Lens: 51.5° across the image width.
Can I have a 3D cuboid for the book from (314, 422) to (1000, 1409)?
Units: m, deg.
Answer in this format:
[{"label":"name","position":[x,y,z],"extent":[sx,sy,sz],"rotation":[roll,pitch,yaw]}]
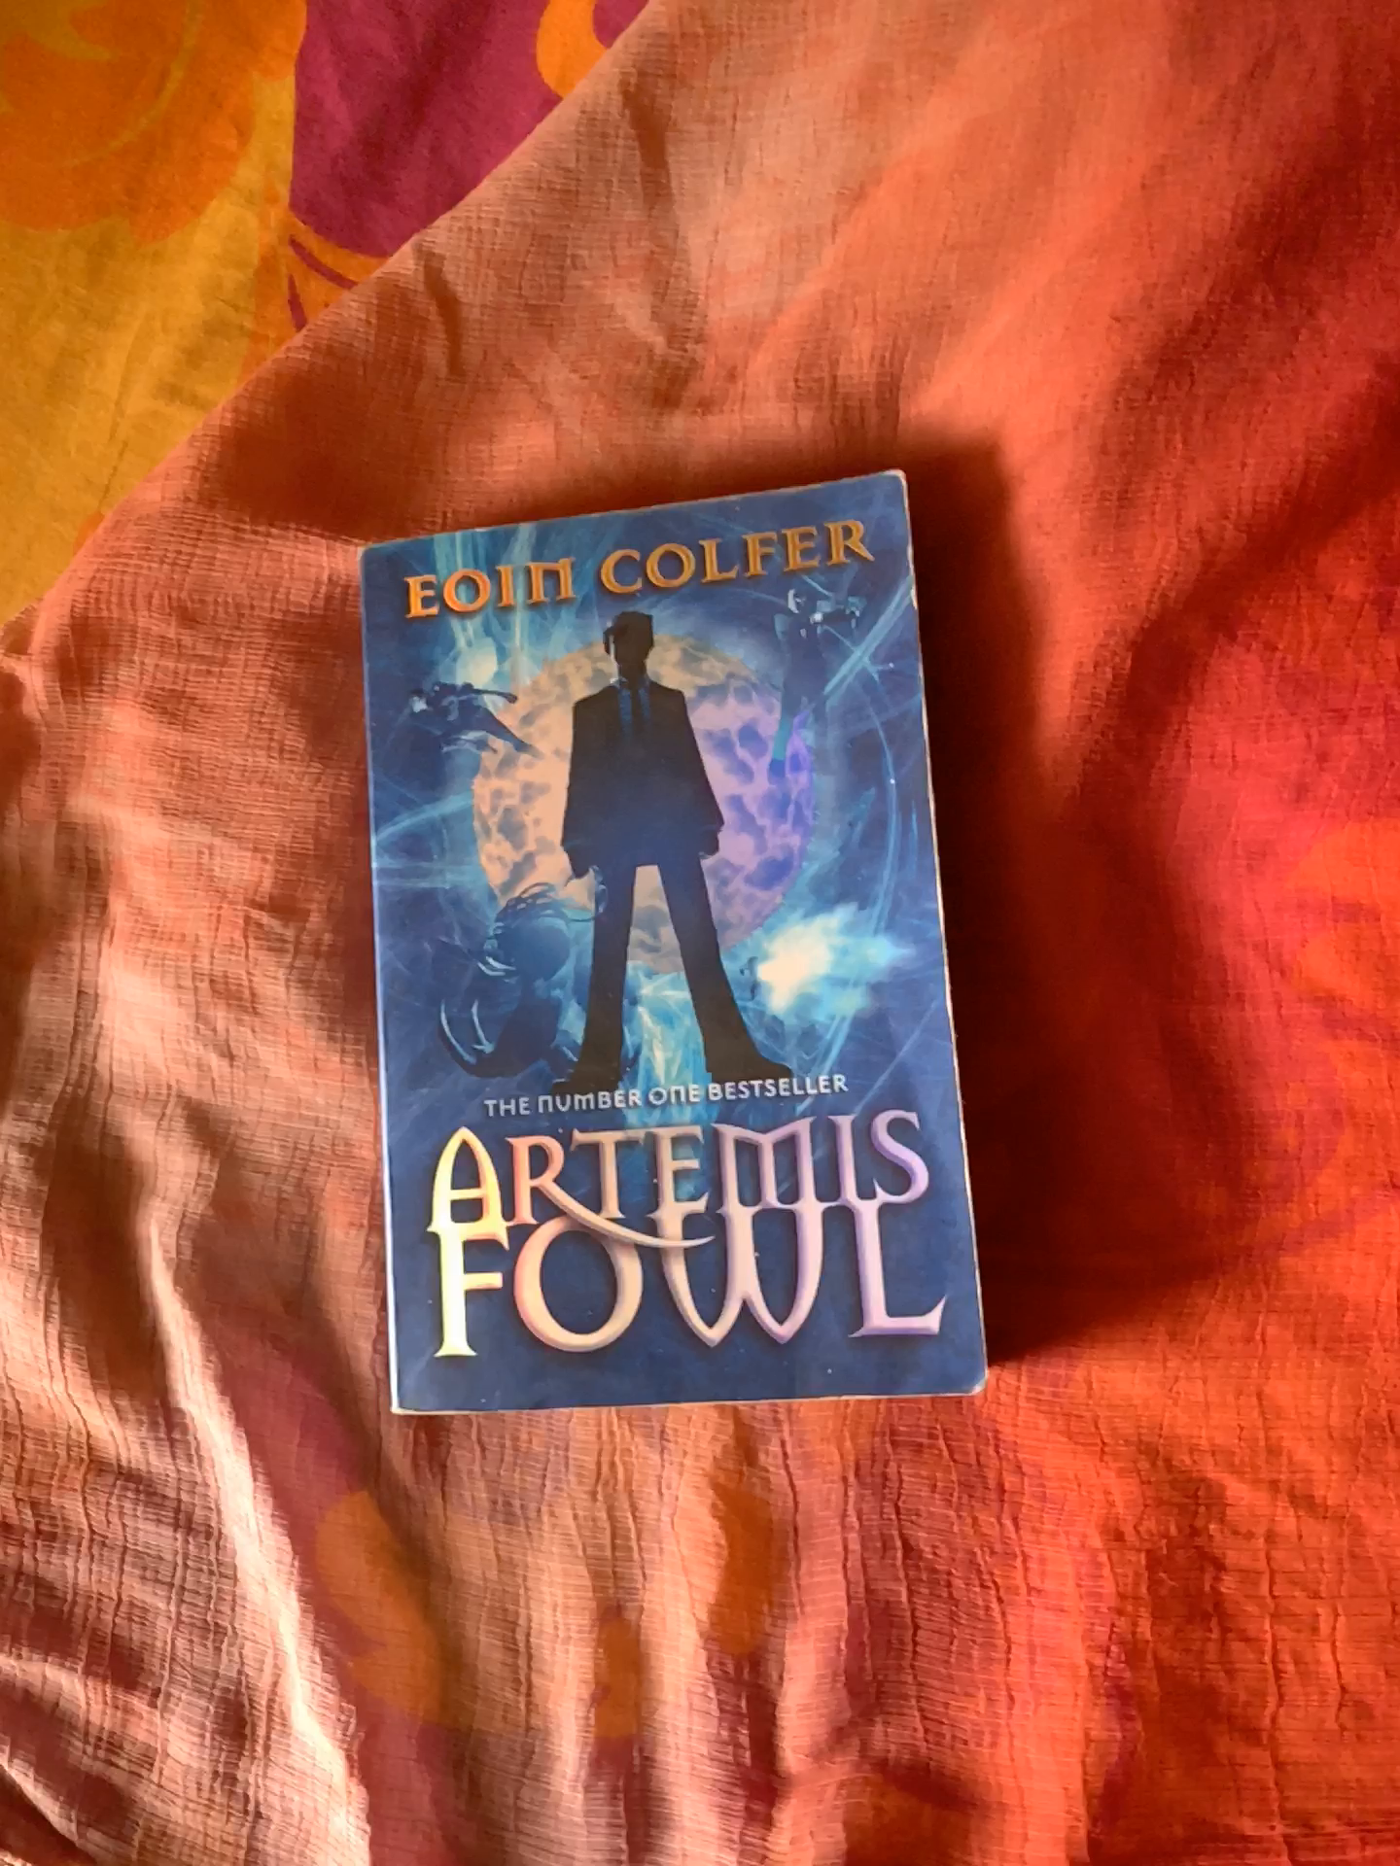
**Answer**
[{"label":"book","position":[-0.011,-0.001,0.308],"extent":[0.130,0.030,0.190],"rotation":[-5,85,11]}]
